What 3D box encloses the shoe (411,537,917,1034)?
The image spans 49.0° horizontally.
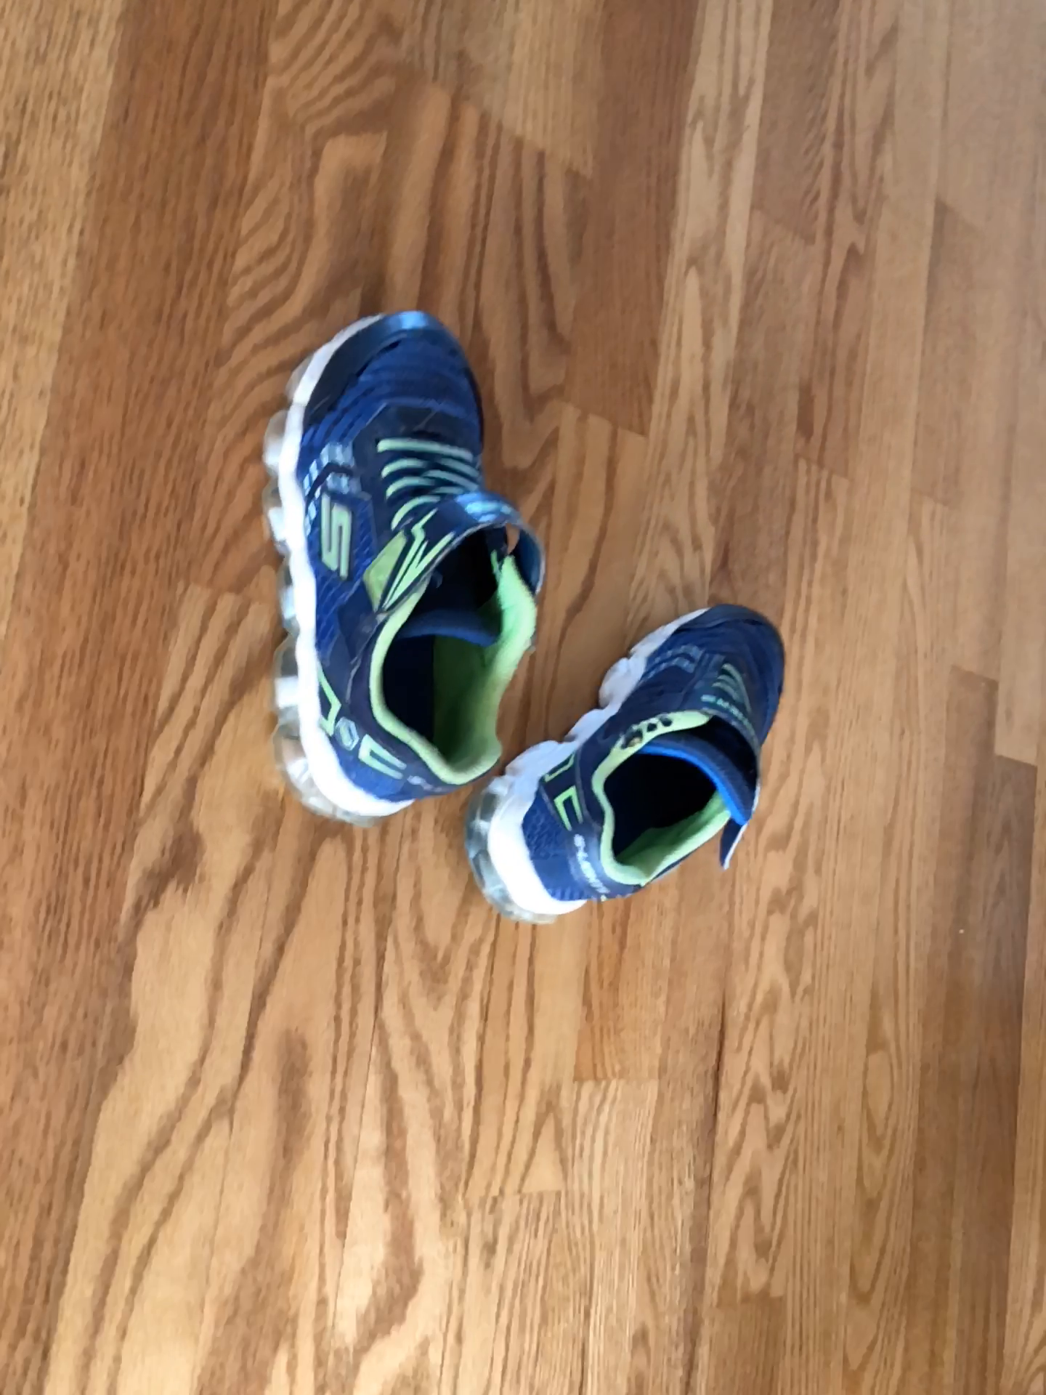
[{"bbox_3d":[0.070,0.029,0.504,0.213,0.087,0.093,-42,113,-32],"label":"shoe"}]

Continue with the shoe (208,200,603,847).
[{"bbox_3d":[-0.043,-0.052,0.423,0.093,0.095,0.203,8,83,-38],"label":"shoe"}]
